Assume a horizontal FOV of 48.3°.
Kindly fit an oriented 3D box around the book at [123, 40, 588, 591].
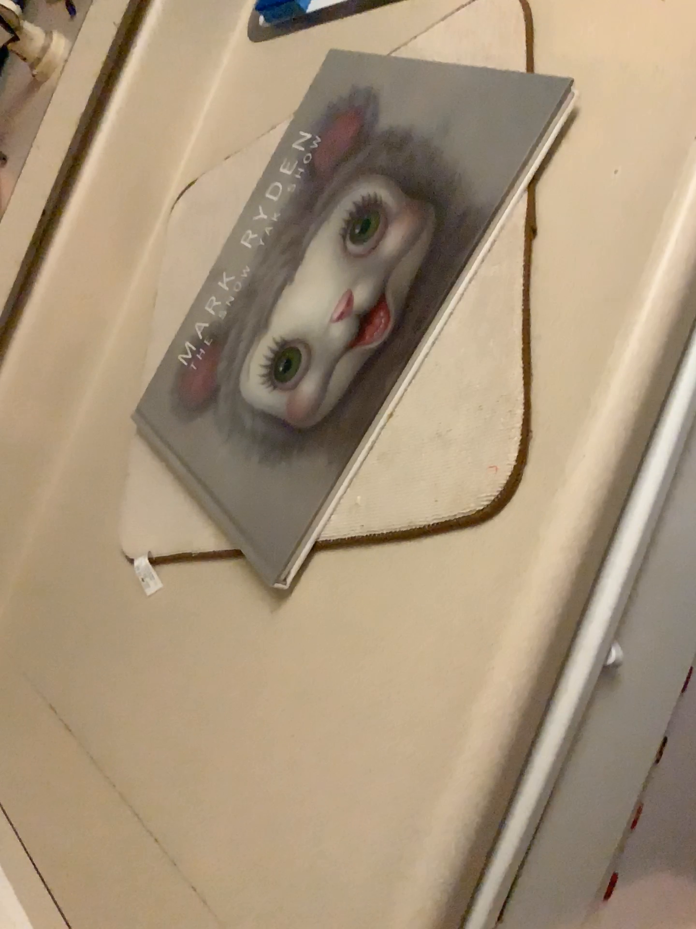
[{"bbox_3d":[-0.032,-0.141,0.605,0.290,0.020,0.380,40,102,46],"label":"book"}]
